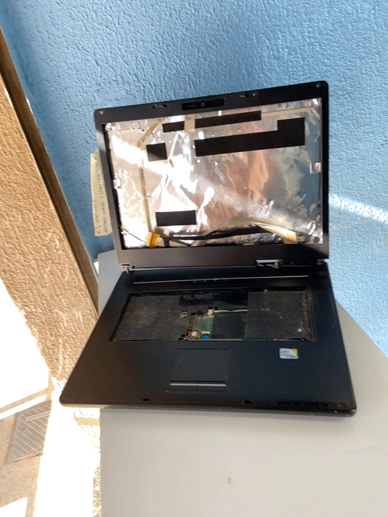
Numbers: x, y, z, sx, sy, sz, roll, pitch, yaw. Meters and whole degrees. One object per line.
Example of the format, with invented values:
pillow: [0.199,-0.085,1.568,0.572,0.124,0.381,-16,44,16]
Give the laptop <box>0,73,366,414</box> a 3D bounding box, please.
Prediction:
laptop: [0.006,-0.039,0.531,0.352,0.261,0.352,-3,34,14]
